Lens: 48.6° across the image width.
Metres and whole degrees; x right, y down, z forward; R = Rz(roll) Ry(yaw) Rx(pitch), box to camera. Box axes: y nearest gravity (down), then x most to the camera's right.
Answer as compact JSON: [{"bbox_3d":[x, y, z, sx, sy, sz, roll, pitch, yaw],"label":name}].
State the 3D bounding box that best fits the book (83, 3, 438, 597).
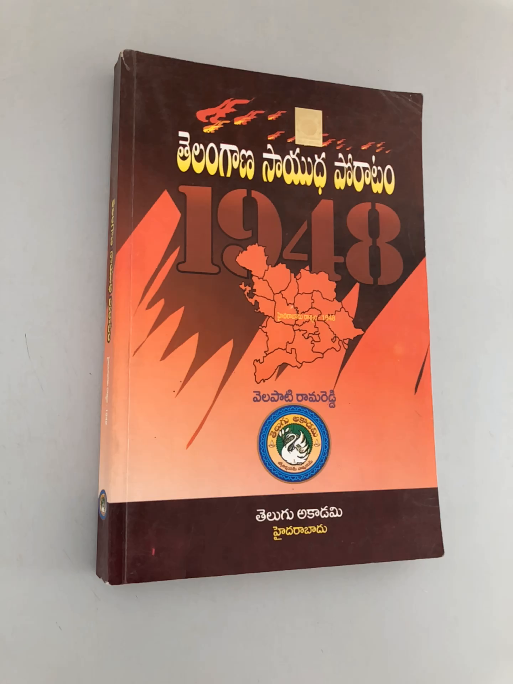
[{"bbox_3d":[0.003,-0.024,0.292,0.170,0.030,0.270,2,82,-17],"label":"book"}]
